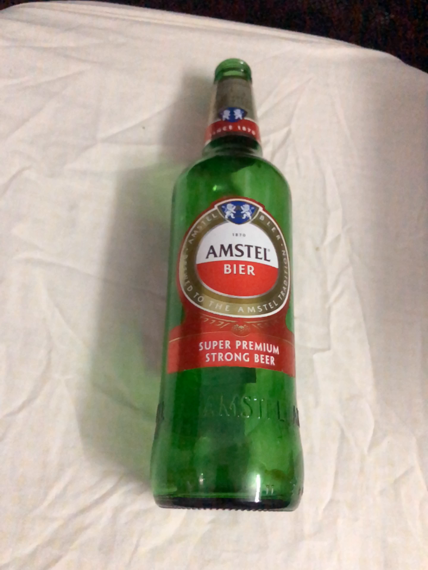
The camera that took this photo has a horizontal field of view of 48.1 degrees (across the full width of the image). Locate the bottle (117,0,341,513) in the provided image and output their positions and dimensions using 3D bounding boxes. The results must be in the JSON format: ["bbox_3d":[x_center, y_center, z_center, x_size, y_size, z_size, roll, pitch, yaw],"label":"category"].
[{"bbox_3d":[0.003,-0.055,0.306,0.090,0.080,0.360,5,63,-8],"label":"bottle"}]
